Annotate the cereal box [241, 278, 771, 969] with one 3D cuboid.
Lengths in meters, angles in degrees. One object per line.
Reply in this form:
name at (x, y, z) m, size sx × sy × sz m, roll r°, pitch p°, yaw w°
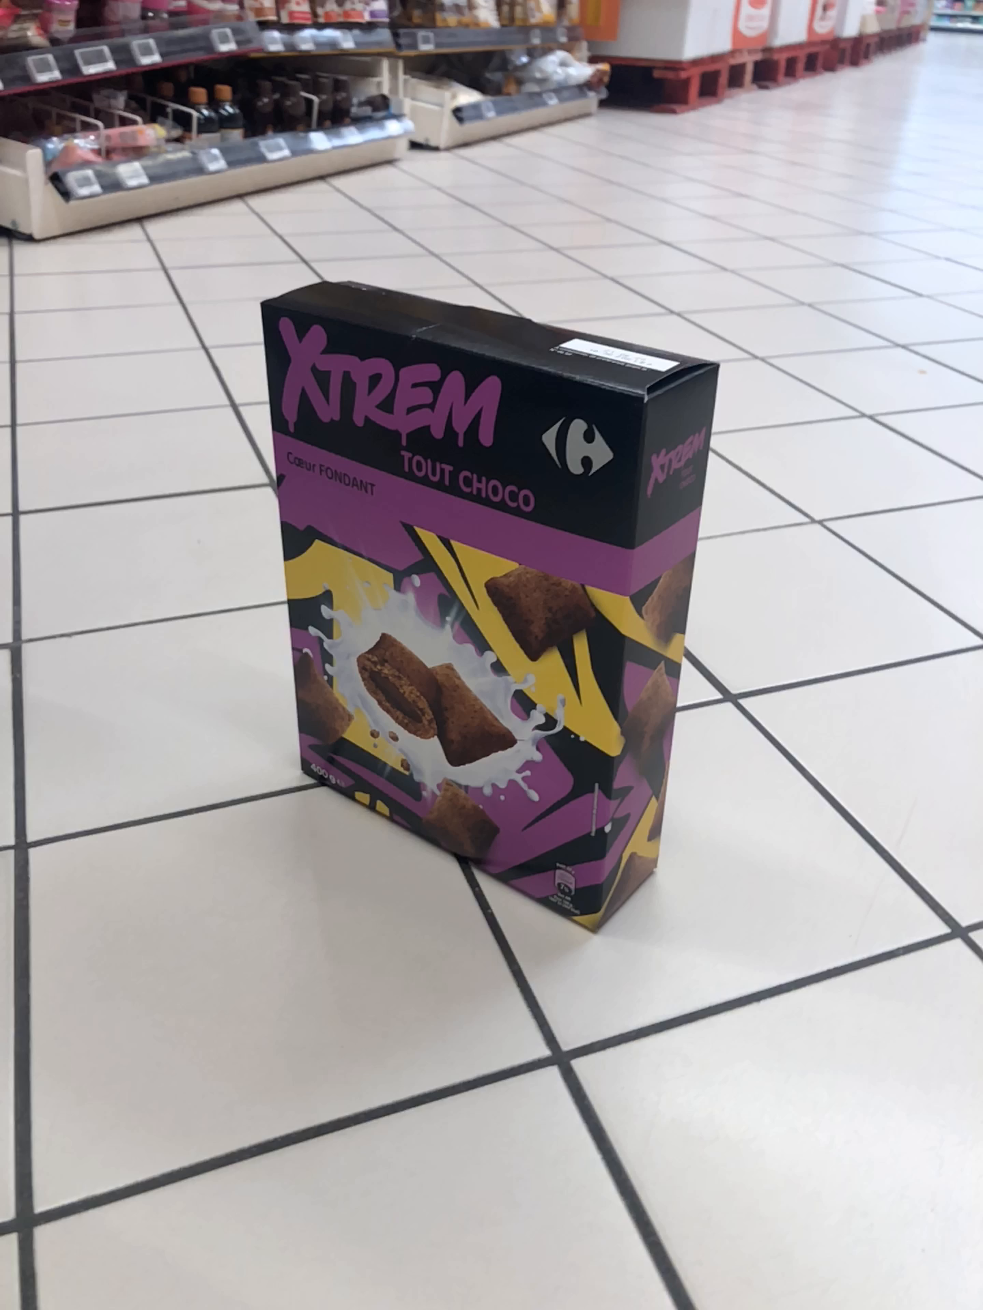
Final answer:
cereal box at (-0.005, -0.018, 0.470) m, size 0.200 × 0.239 × 0.070 m, roll 24°, pitch 37°, yaw 31°
